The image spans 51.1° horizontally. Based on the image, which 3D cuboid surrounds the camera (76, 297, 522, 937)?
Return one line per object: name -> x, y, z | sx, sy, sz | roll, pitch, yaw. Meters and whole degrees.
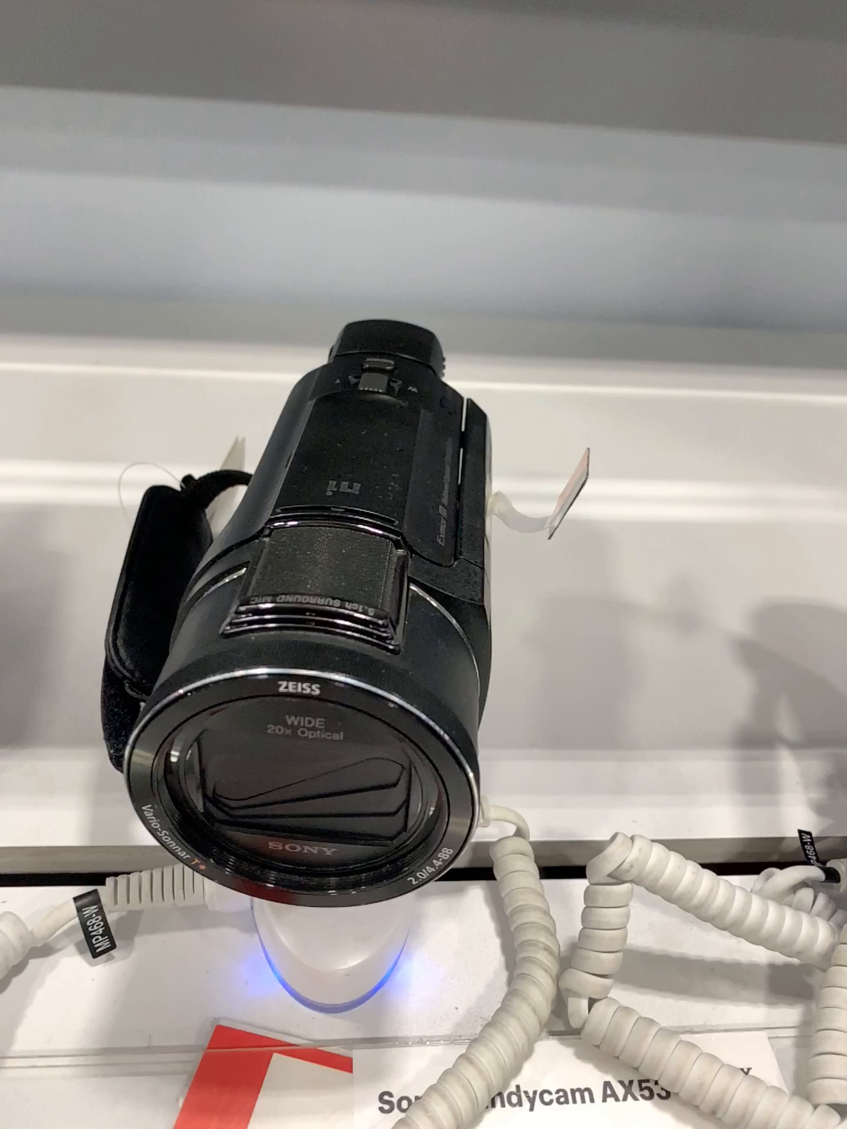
camera -> -0.017, -0.001, 0.220 | 0.070, 0.071, 0.151 | 6, 37, 0
